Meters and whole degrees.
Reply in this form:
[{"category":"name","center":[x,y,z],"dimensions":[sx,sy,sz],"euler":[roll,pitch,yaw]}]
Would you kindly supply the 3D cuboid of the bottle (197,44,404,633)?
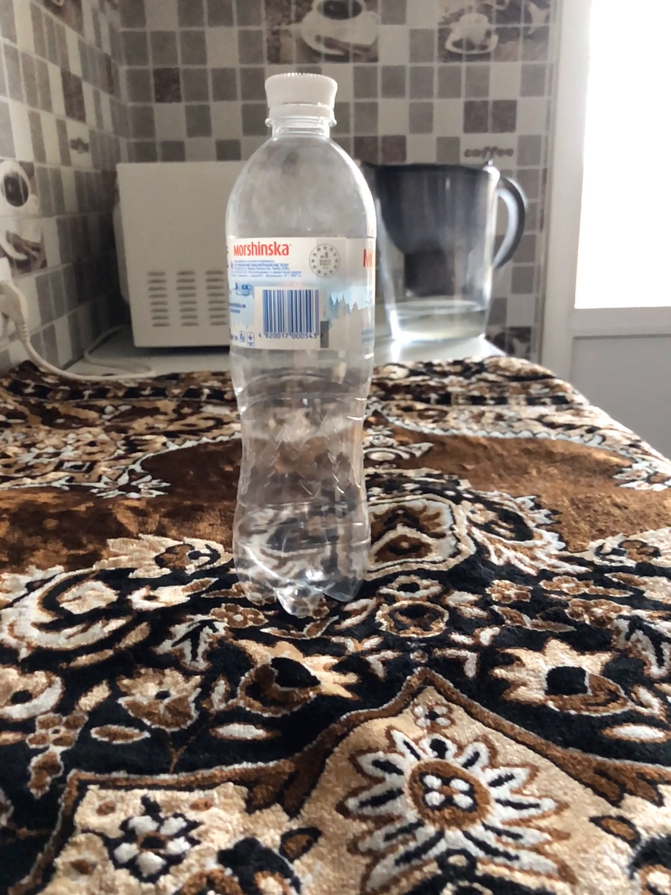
[{"category":"bottle","center":[-0.017,-0.046,0.361],"dimensions":[0.080,0.249,0.090],"euler":[-1,15,-5]}]
